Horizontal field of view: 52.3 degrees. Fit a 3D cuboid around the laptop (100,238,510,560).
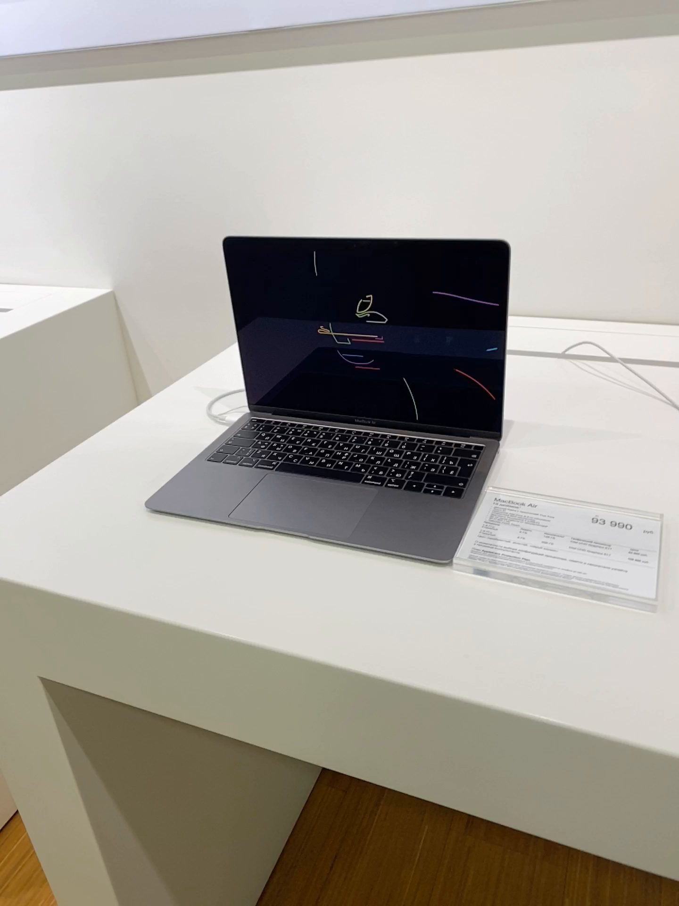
[{"bbox_3d":[-0.014,-0.075,0.664,0.302,0.211,0.225,7,29,21],"label":"laptop"}]
